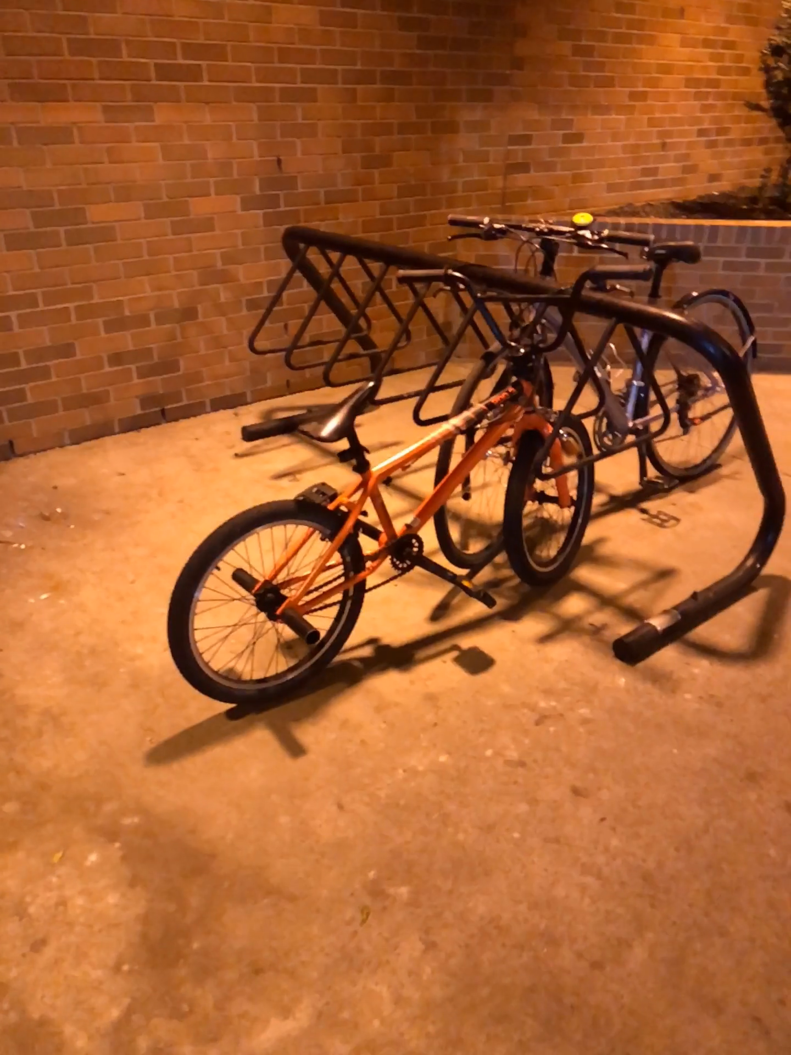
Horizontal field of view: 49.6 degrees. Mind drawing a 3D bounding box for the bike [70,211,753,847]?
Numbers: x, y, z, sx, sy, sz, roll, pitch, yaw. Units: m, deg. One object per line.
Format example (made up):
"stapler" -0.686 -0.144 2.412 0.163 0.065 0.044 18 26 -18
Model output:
"bike" 0.070 -0.151 2.024 1.292 0.927 0.747 -21 34 -34
